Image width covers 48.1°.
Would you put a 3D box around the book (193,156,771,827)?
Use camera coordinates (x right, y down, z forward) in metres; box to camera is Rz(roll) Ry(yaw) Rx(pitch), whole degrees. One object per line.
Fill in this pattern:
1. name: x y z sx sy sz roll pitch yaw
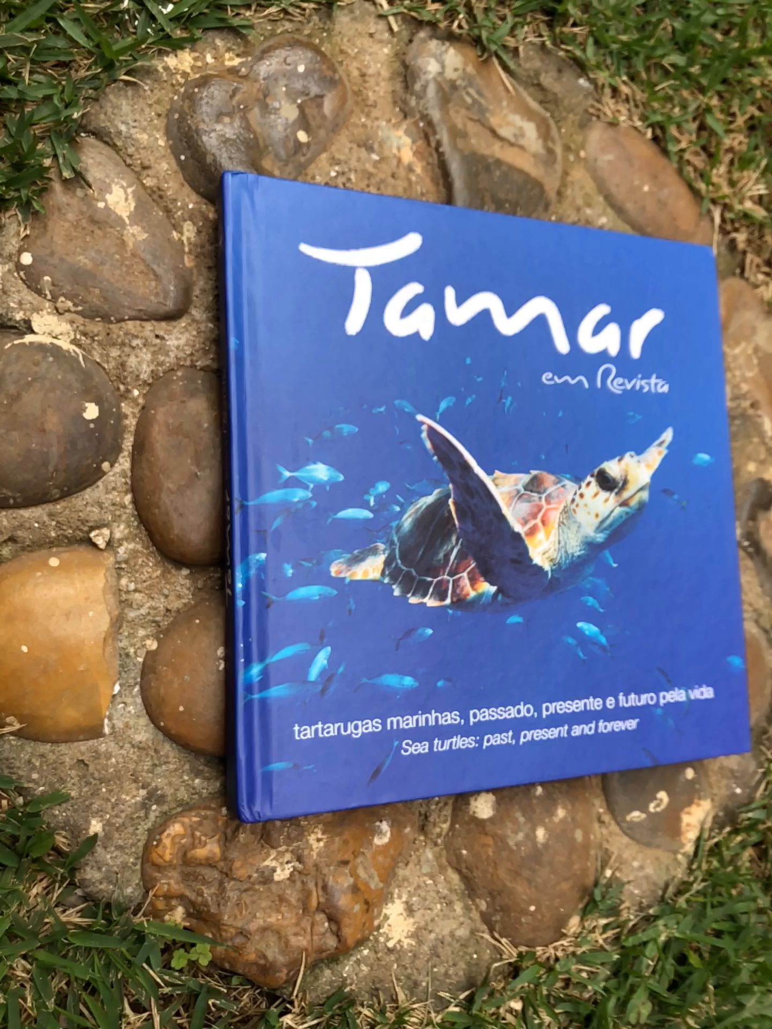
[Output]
1. book: 0.035 -0.007 0.255 0.179 0.020 0.166 1 84 -22
